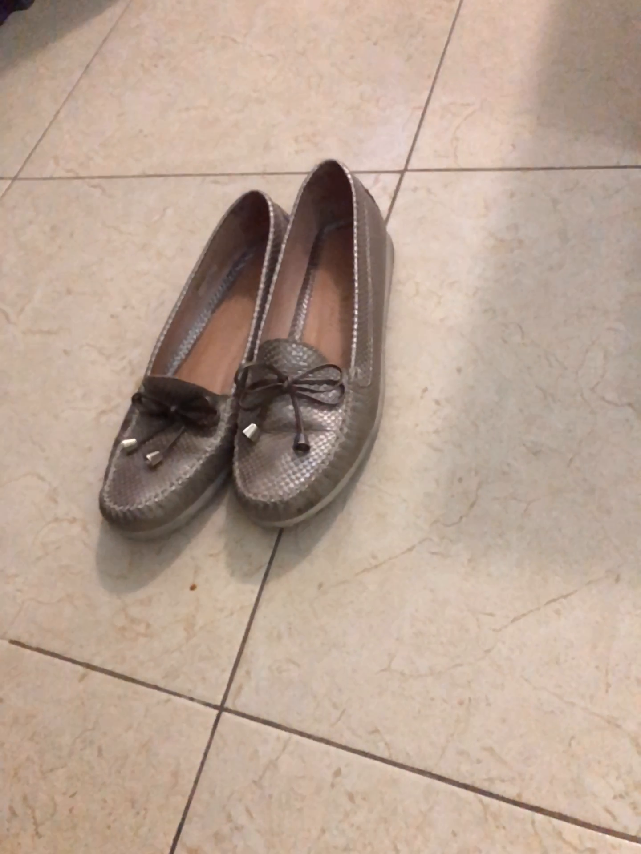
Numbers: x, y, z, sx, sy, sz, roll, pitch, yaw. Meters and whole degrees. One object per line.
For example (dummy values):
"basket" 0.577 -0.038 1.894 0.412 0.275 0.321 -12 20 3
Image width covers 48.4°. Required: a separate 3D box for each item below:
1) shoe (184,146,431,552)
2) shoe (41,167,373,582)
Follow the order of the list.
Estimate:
"shoe" 0.005 -0.061 0.485 0.100 0.080 0.270 1 60 19
"shoe" -0.067 -0.052 0.525 0.100 0.080 0.300 12 65 25
